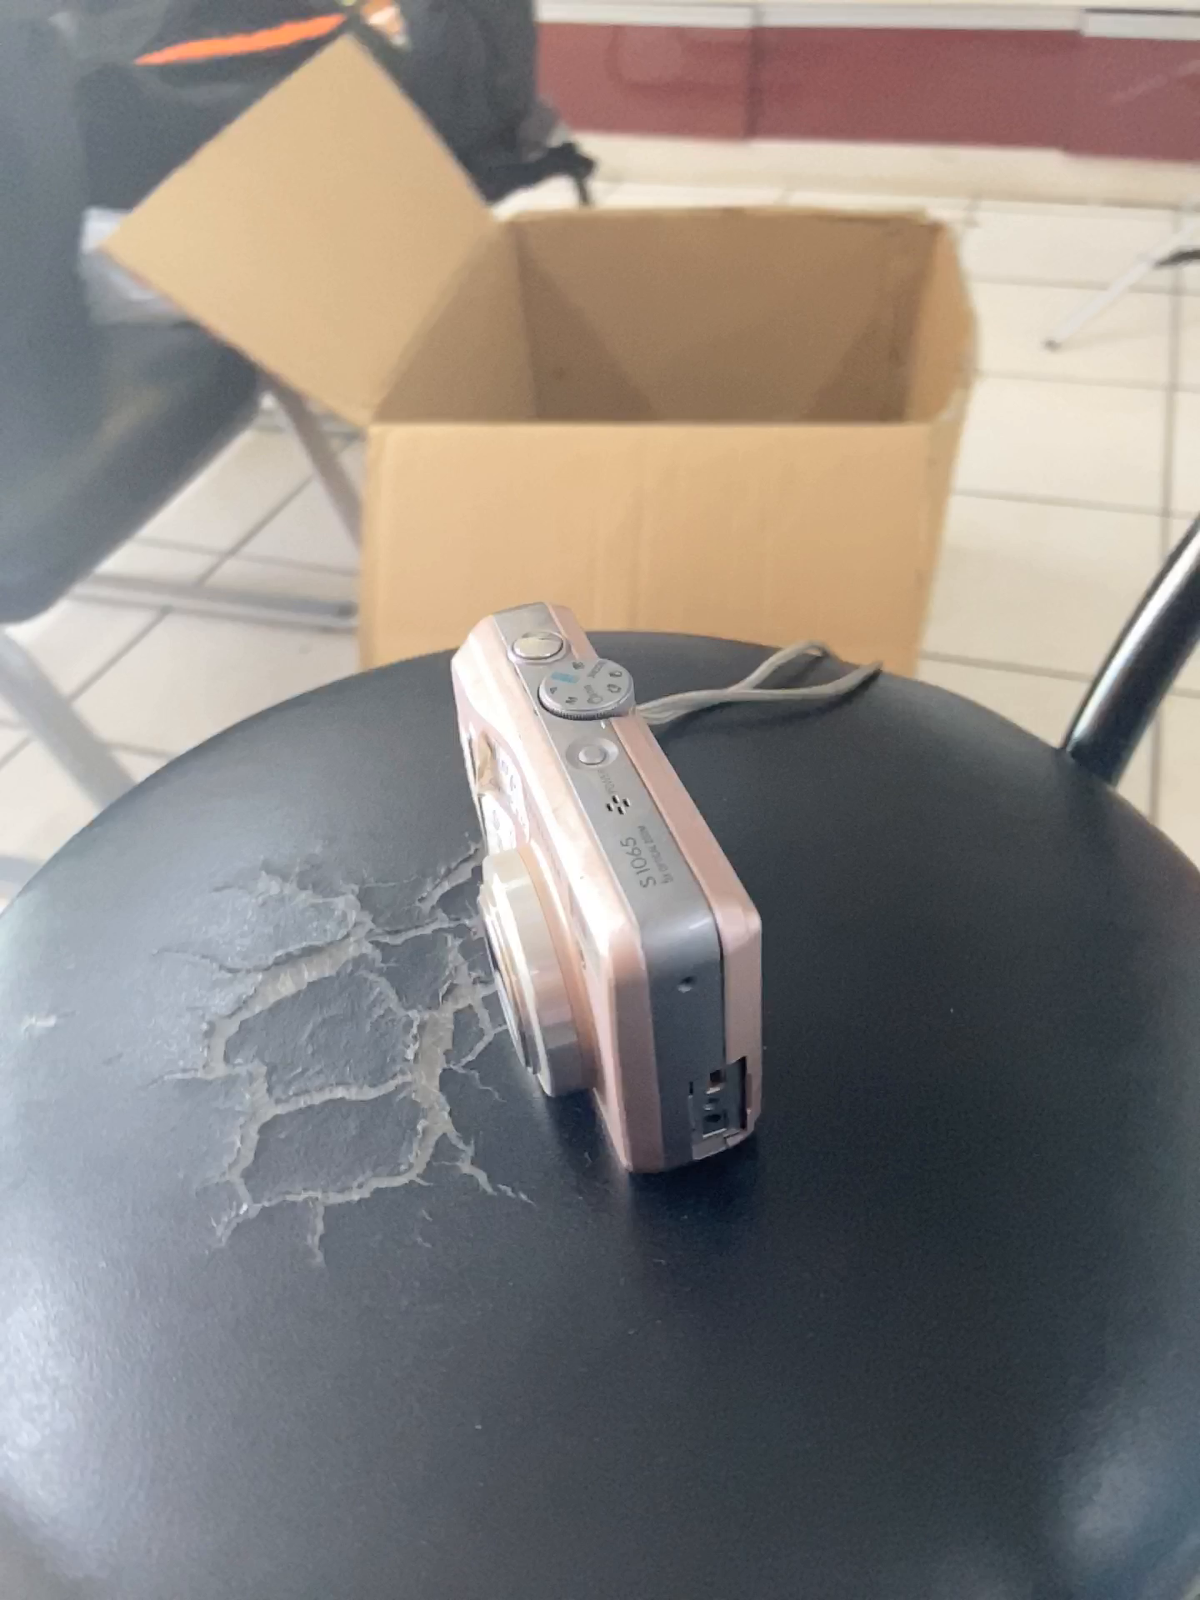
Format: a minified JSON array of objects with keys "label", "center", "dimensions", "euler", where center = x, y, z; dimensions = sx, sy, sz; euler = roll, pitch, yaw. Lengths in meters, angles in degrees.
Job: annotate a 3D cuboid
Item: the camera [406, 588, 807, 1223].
[{"label":"camera","center":[-0.002,0.017,0.249],"dimensions":[0.040,0.070,0.100],"euler":[-16,42,-13]}]
